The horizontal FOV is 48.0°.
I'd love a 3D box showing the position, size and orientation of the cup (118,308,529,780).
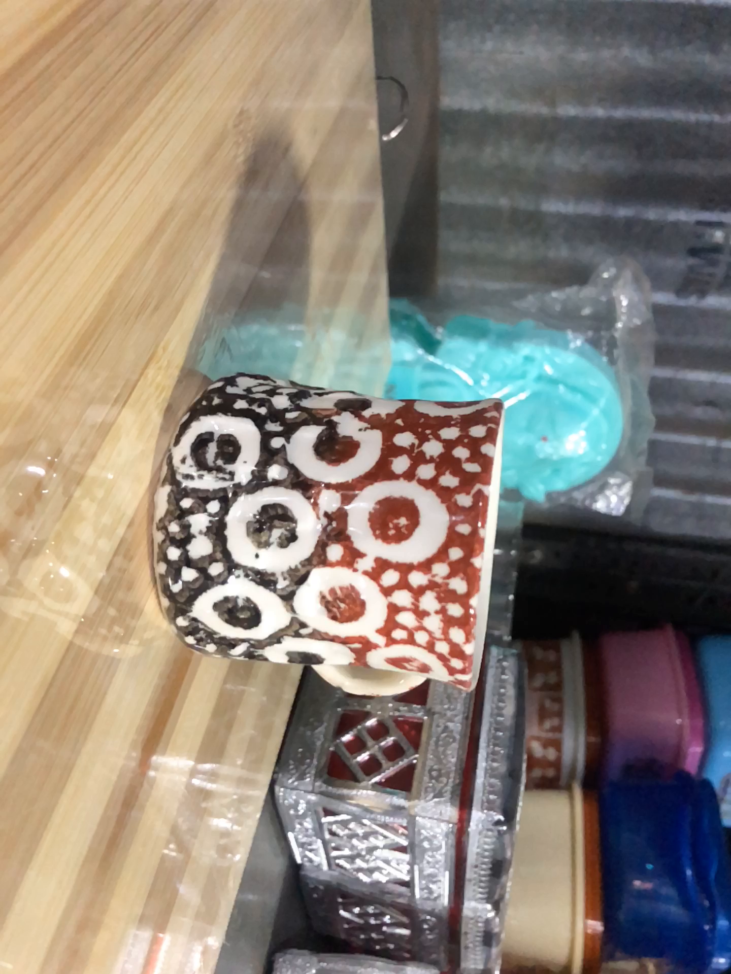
[{"bbox_3d":[-0.002,0.015,0.195,0.090,0.070,0.060,87,13,-44],"label":"cup"}]
